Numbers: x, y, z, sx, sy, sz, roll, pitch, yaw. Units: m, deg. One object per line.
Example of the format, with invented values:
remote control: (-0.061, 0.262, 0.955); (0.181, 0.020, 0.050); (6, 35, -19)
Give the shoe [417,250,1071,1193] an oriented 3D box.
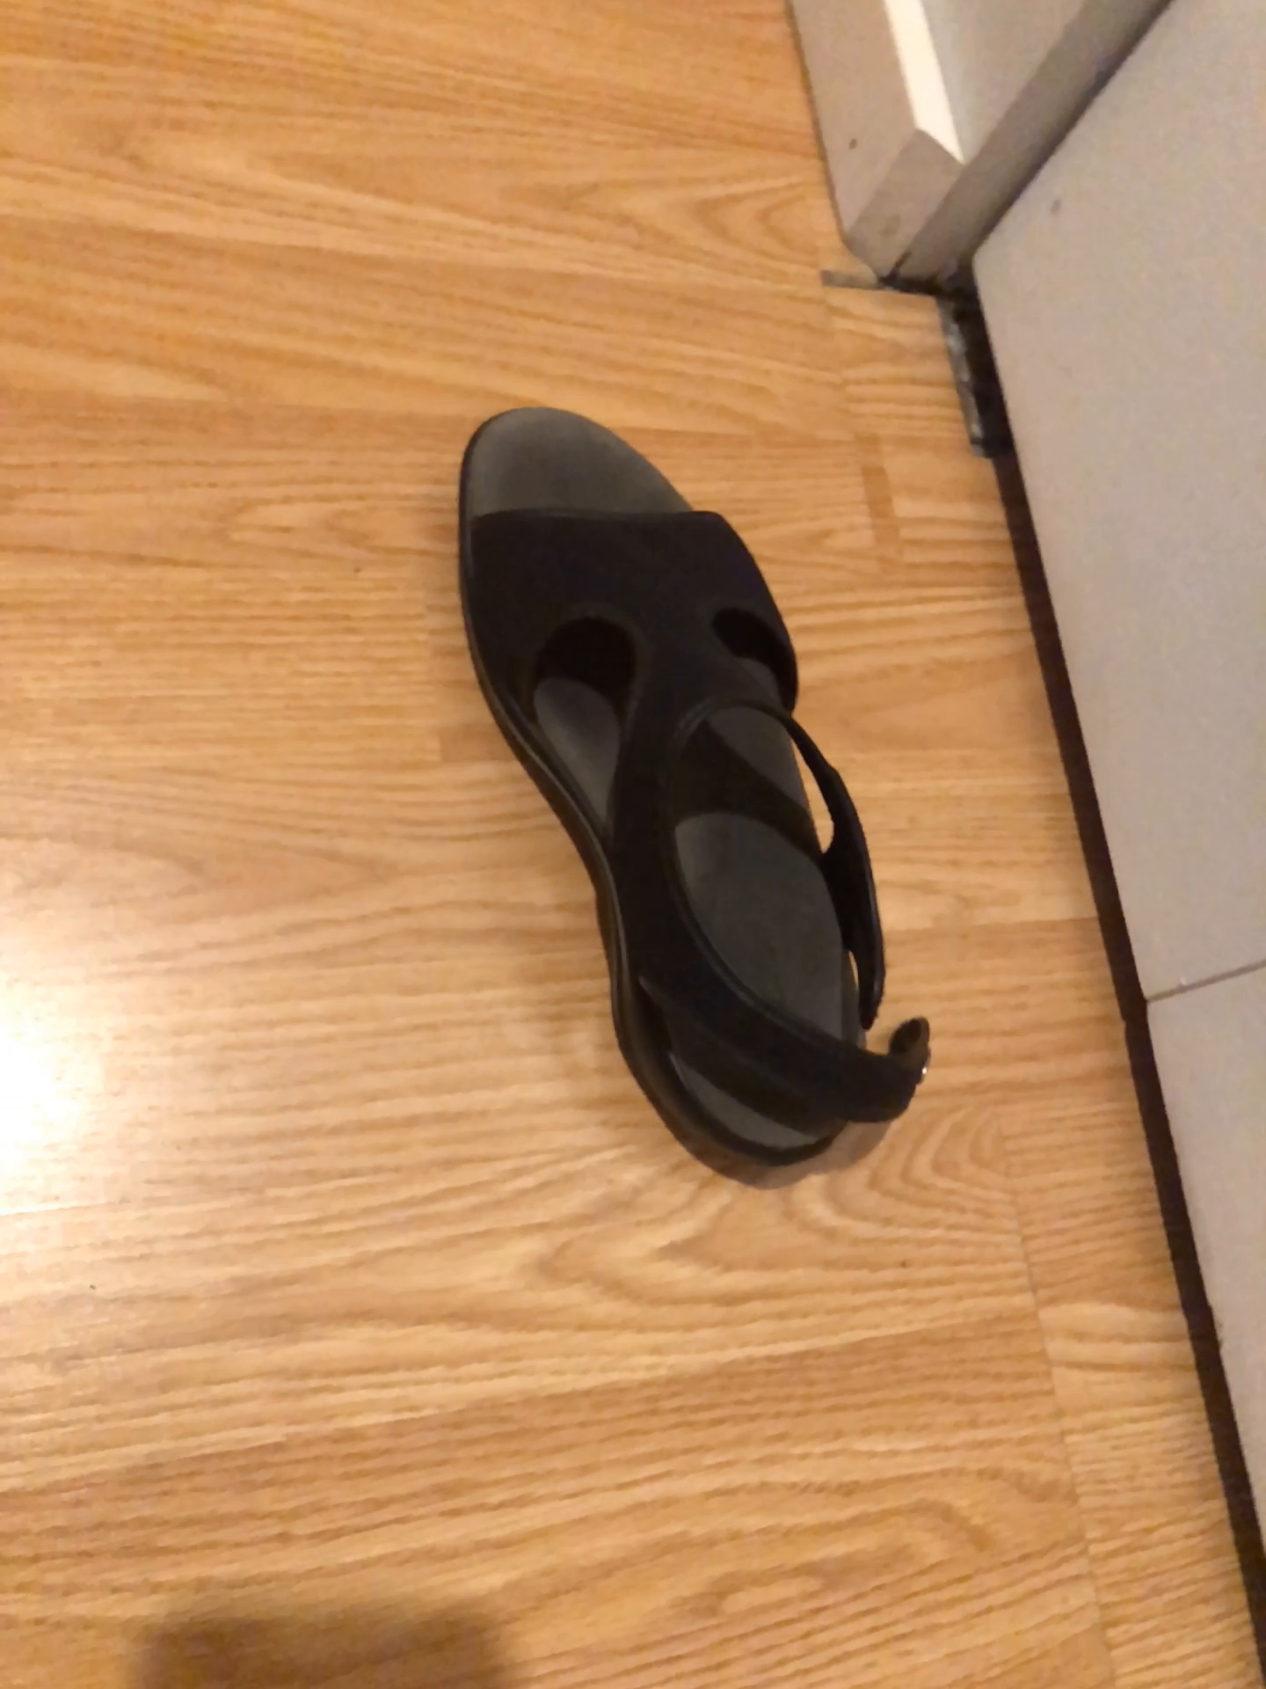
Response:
shoe: (0.020, -0.037, 0.419); (0.100, 0.100, 0.250); (-10, 76, -21)
